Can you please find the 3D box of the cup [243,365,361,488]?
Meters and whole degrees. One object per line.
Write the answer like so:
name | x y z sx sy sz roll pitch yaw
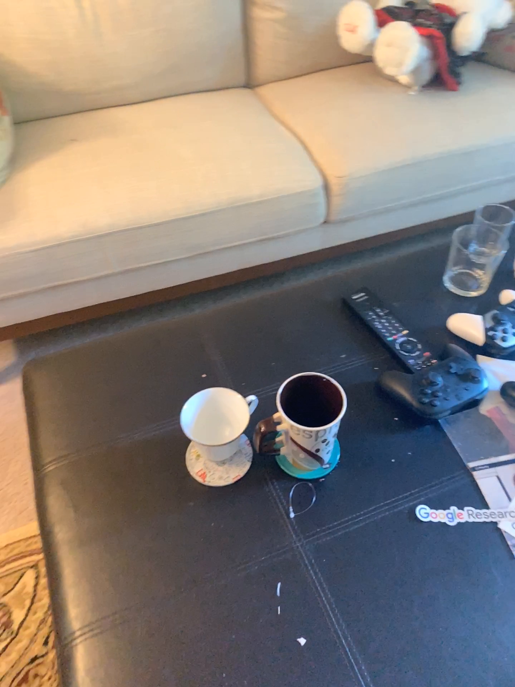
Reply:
cup | 0.052 0.106 0.670 0.120 0.109 0.080 -14 50 -11

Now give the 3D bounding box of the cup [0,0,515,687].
cup | 0.052 0.106 0.670 39.251 9.454 0.298 -14 50 -11

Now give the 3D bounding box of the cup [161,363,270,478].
cup | -0.054 0.100 0.697 0.110 0.070 0.090 -24 53 -19

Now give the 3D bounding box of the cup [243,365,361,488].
cup | 0.052 0.106 0.670 0.120 0.109 0.080 -14 50 -11
